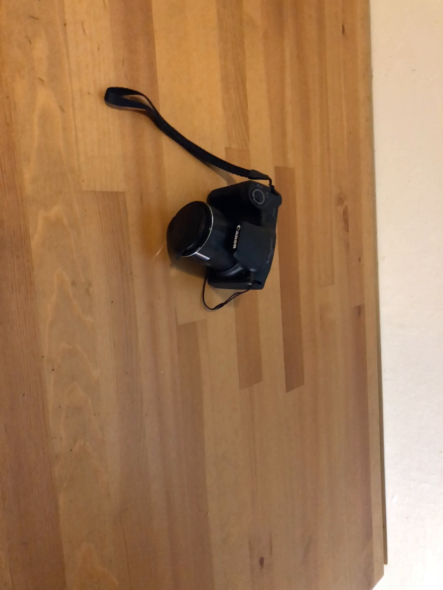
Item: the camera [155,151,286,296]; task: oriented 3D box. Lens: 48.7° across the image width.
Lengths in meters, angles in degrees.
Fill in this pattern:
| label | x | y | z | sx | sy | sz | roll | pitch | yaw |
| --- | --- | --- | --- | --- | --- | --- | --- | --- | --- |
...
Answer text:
| label | x | y | z | sx | sy | sz | roll | pitch | yaw |
| --- | --- | --- | --- | --- | --- | --- | --- | --- | --- |
| camera | 0.002 | -0.064 | 0.478 | 0.097 | 0.062 | 0.109 | 19 | 78 | -46 |
